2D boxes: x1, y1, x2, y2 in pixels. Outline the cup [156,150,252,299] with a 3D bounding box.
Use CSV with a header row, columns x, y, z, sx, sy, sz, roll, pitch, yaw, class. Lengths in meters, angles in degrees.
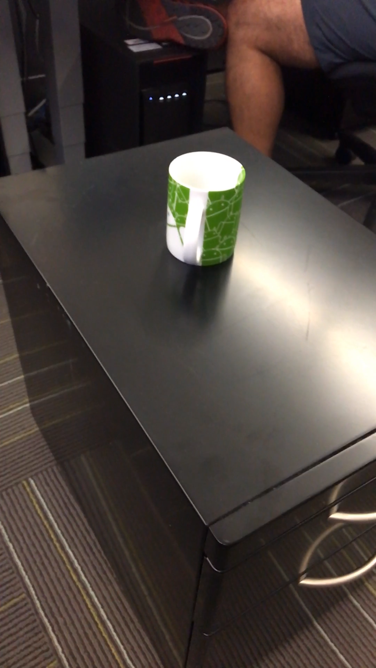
x,y,z,sx,sy,sz,roll,pitch,yaw,class
0.015,-0.122,0.623,0.090,0.110,0.120,3,44,-2,cup
